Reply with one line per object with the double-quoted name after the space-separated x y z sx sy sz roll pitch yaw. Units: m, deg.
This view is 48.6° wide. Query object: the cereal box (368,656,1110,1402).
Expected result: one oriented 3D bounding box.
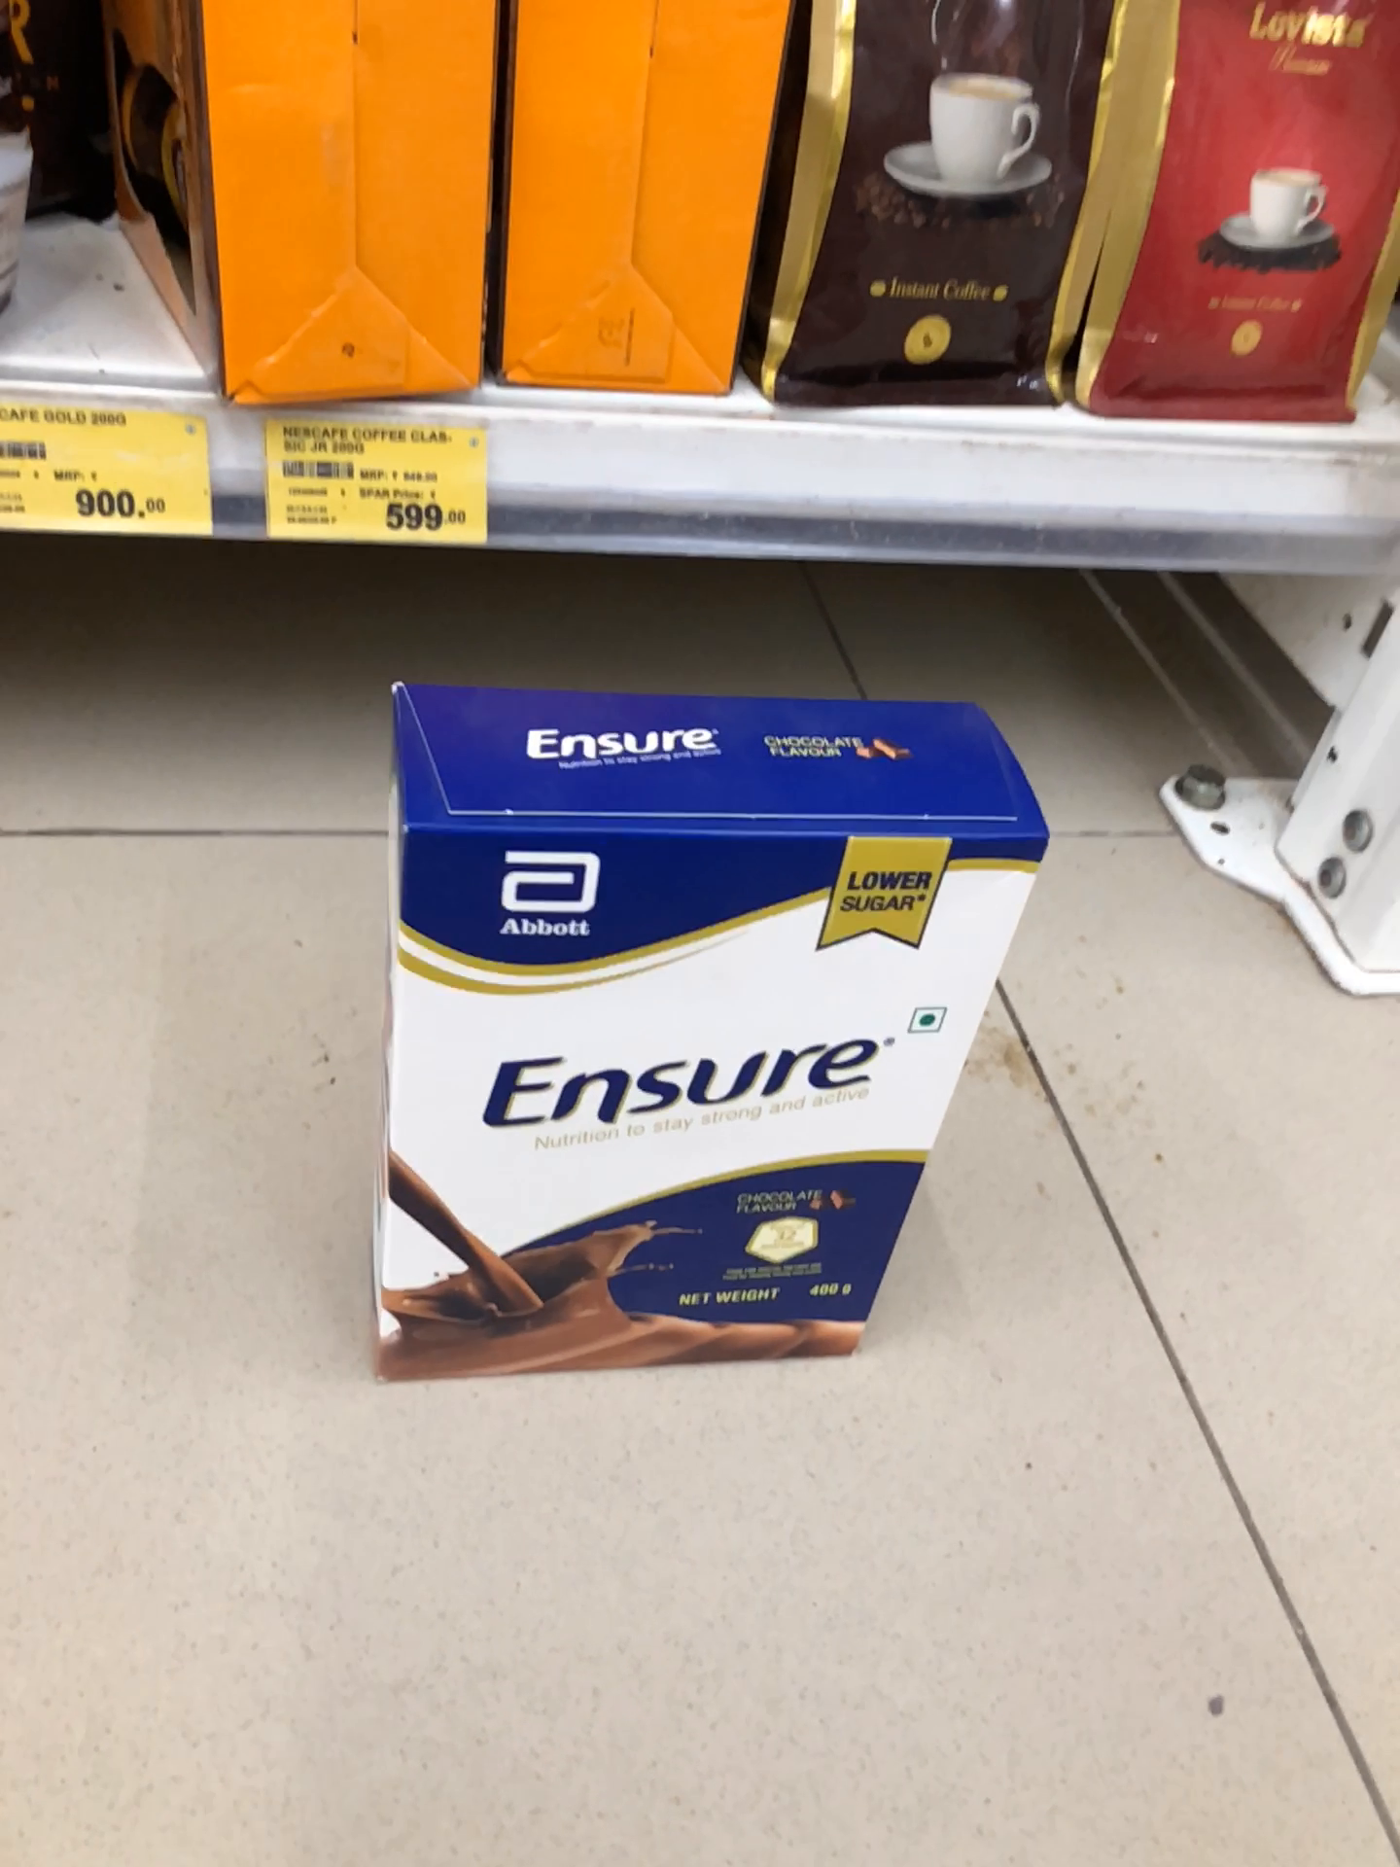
-0.005 0.030 0.366 0.140 0.179 0.060 0 42 -11 "cereal box"
